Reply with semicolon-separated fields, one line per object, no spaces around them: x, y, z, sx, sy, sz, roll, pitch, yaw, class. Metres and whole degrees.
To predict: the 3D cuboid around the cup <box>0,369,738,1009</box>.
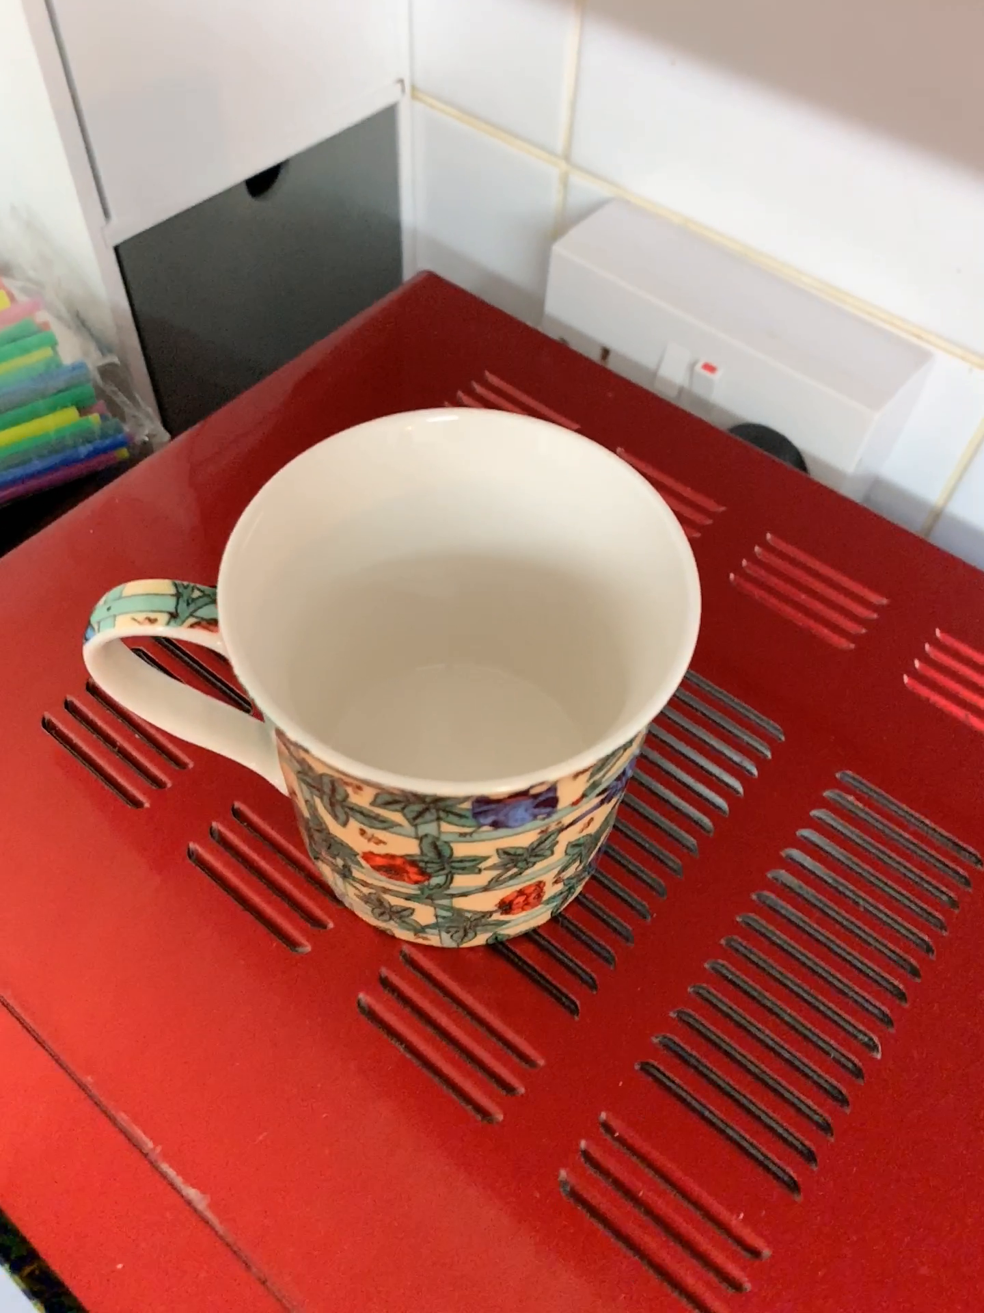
-0.016;0.008;0.200;0.110;0.079;0.081;8;55;3;cup
